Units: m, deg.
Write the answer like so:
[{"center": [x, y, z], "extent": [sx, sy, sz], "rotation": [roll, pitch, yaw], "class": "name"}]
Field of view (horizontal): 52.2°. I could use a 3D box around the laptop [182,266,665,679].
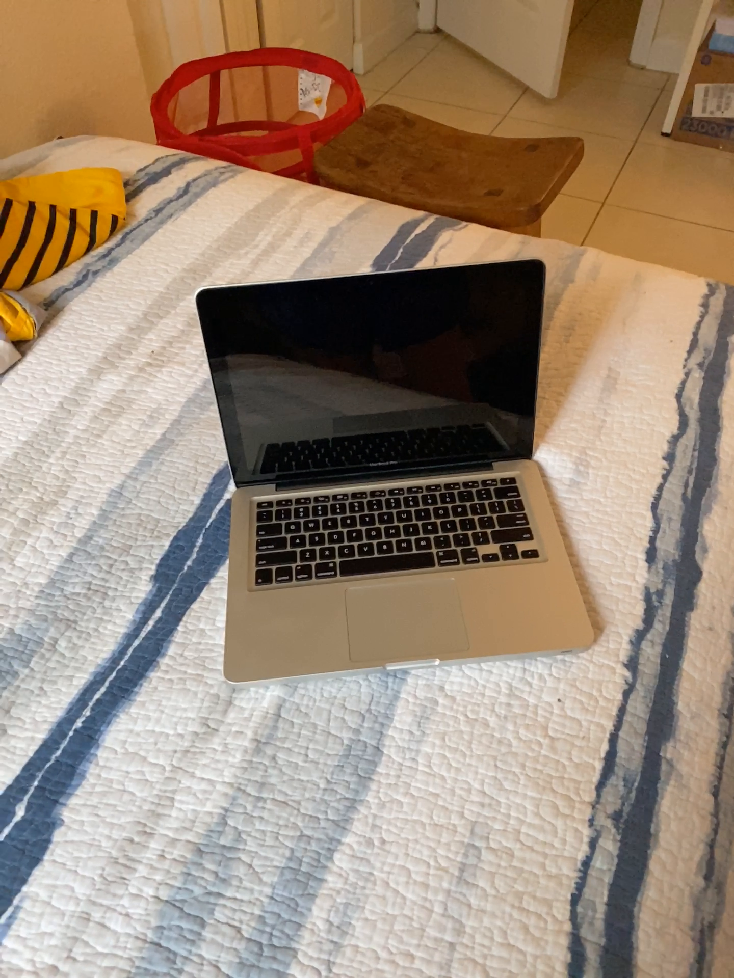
[{"center": [0.025, -0.022, 0.659], "extent": [0.318, 0.199, 0.279], "rotation": [-5, 48, -3], "class": "laptop"}]
